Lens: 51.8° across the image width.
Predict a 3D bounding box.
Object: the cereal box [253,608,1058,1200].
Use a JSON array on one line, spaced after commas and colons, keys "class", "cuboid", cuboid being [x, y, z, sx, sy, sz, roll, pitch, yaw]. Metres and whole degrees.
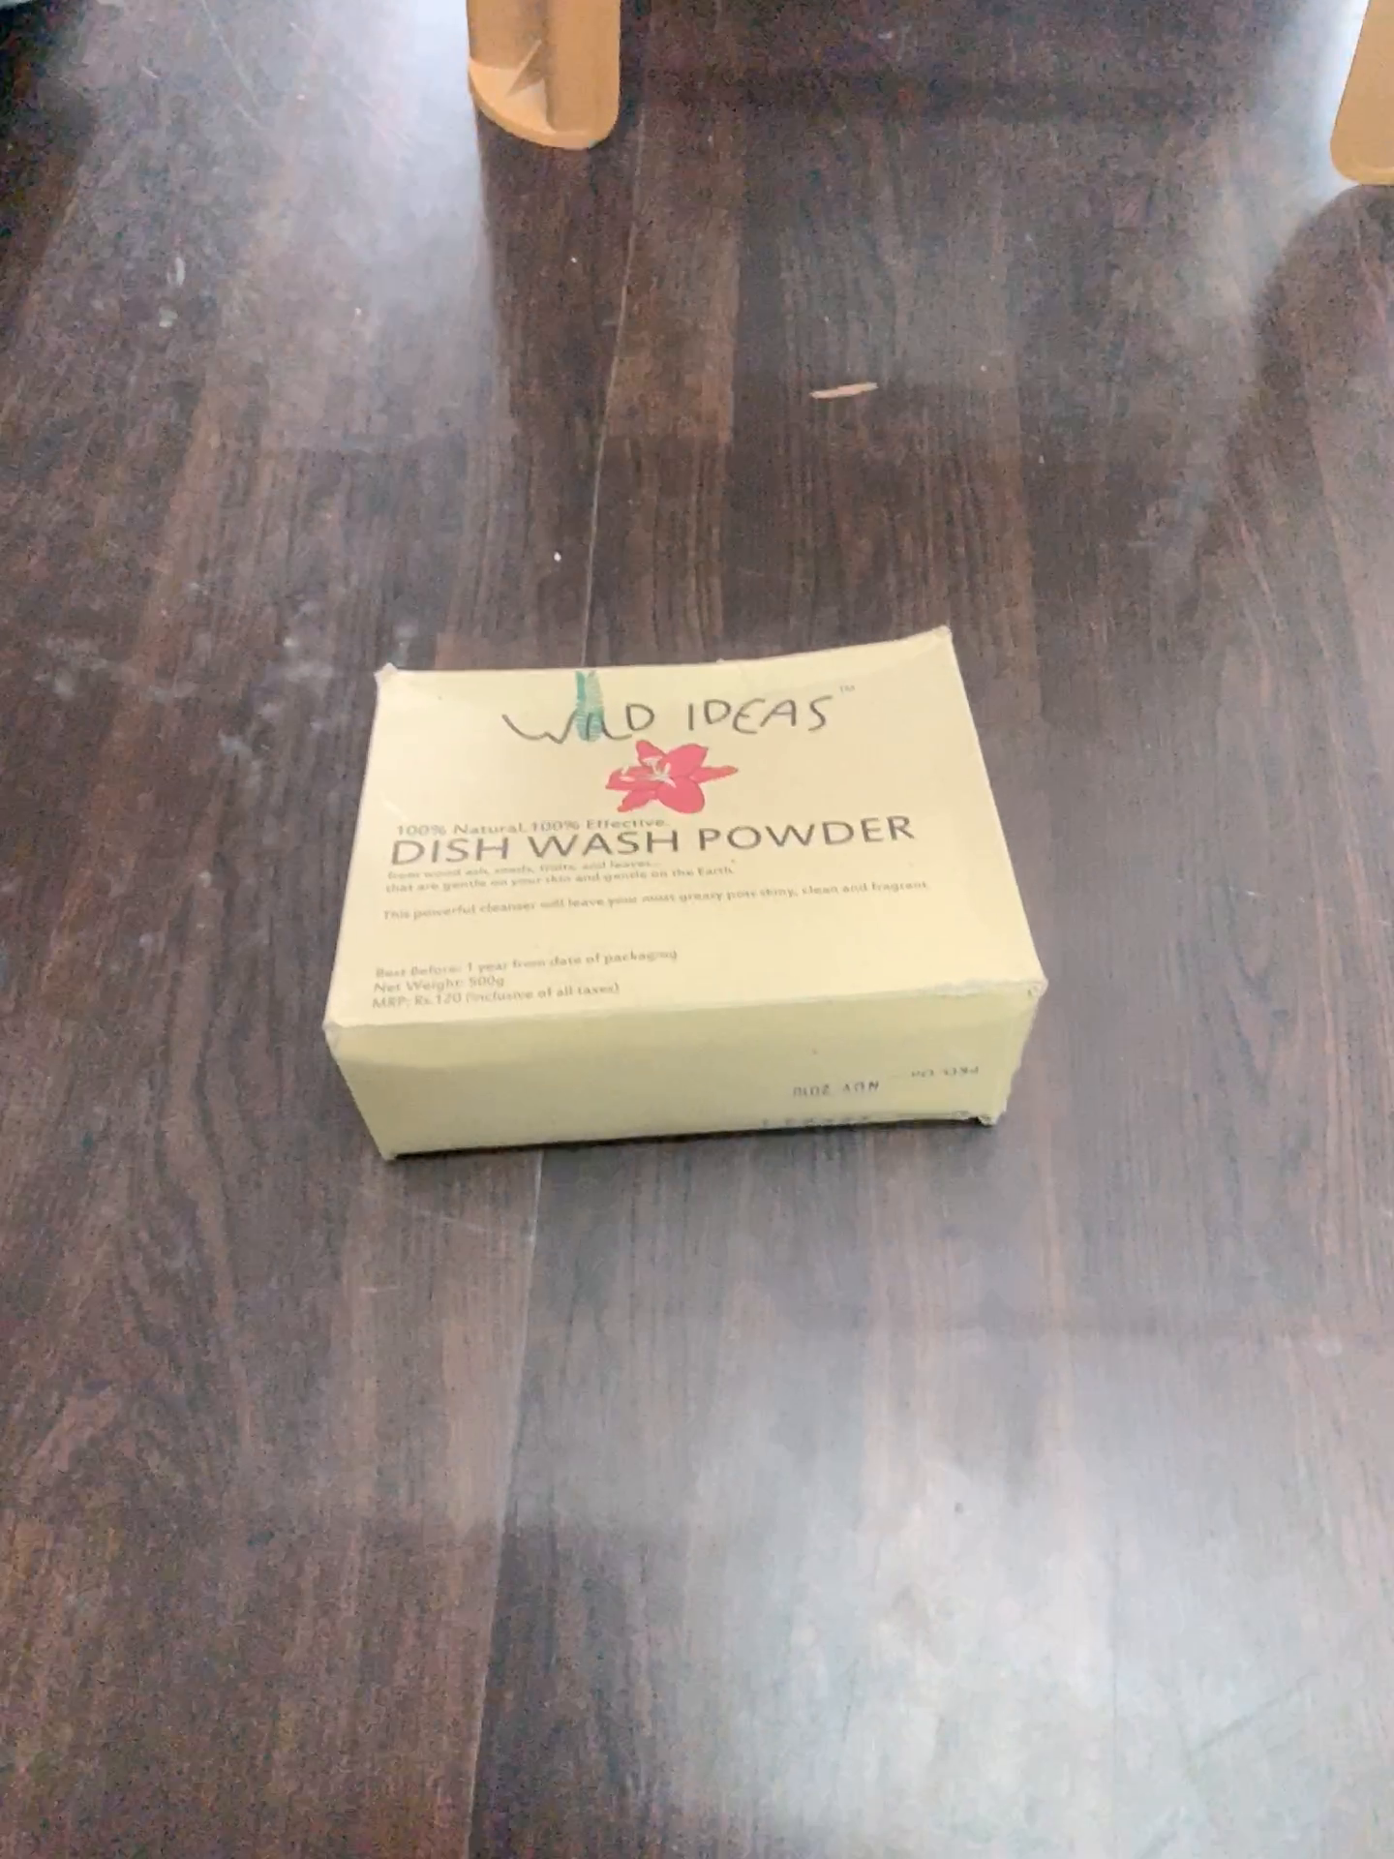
[{"class": "cereal box", "cuboid": [-0.011, -0.013, 0.393, 0.180, 0.060, 0.150, -4, 48, 1]}]
